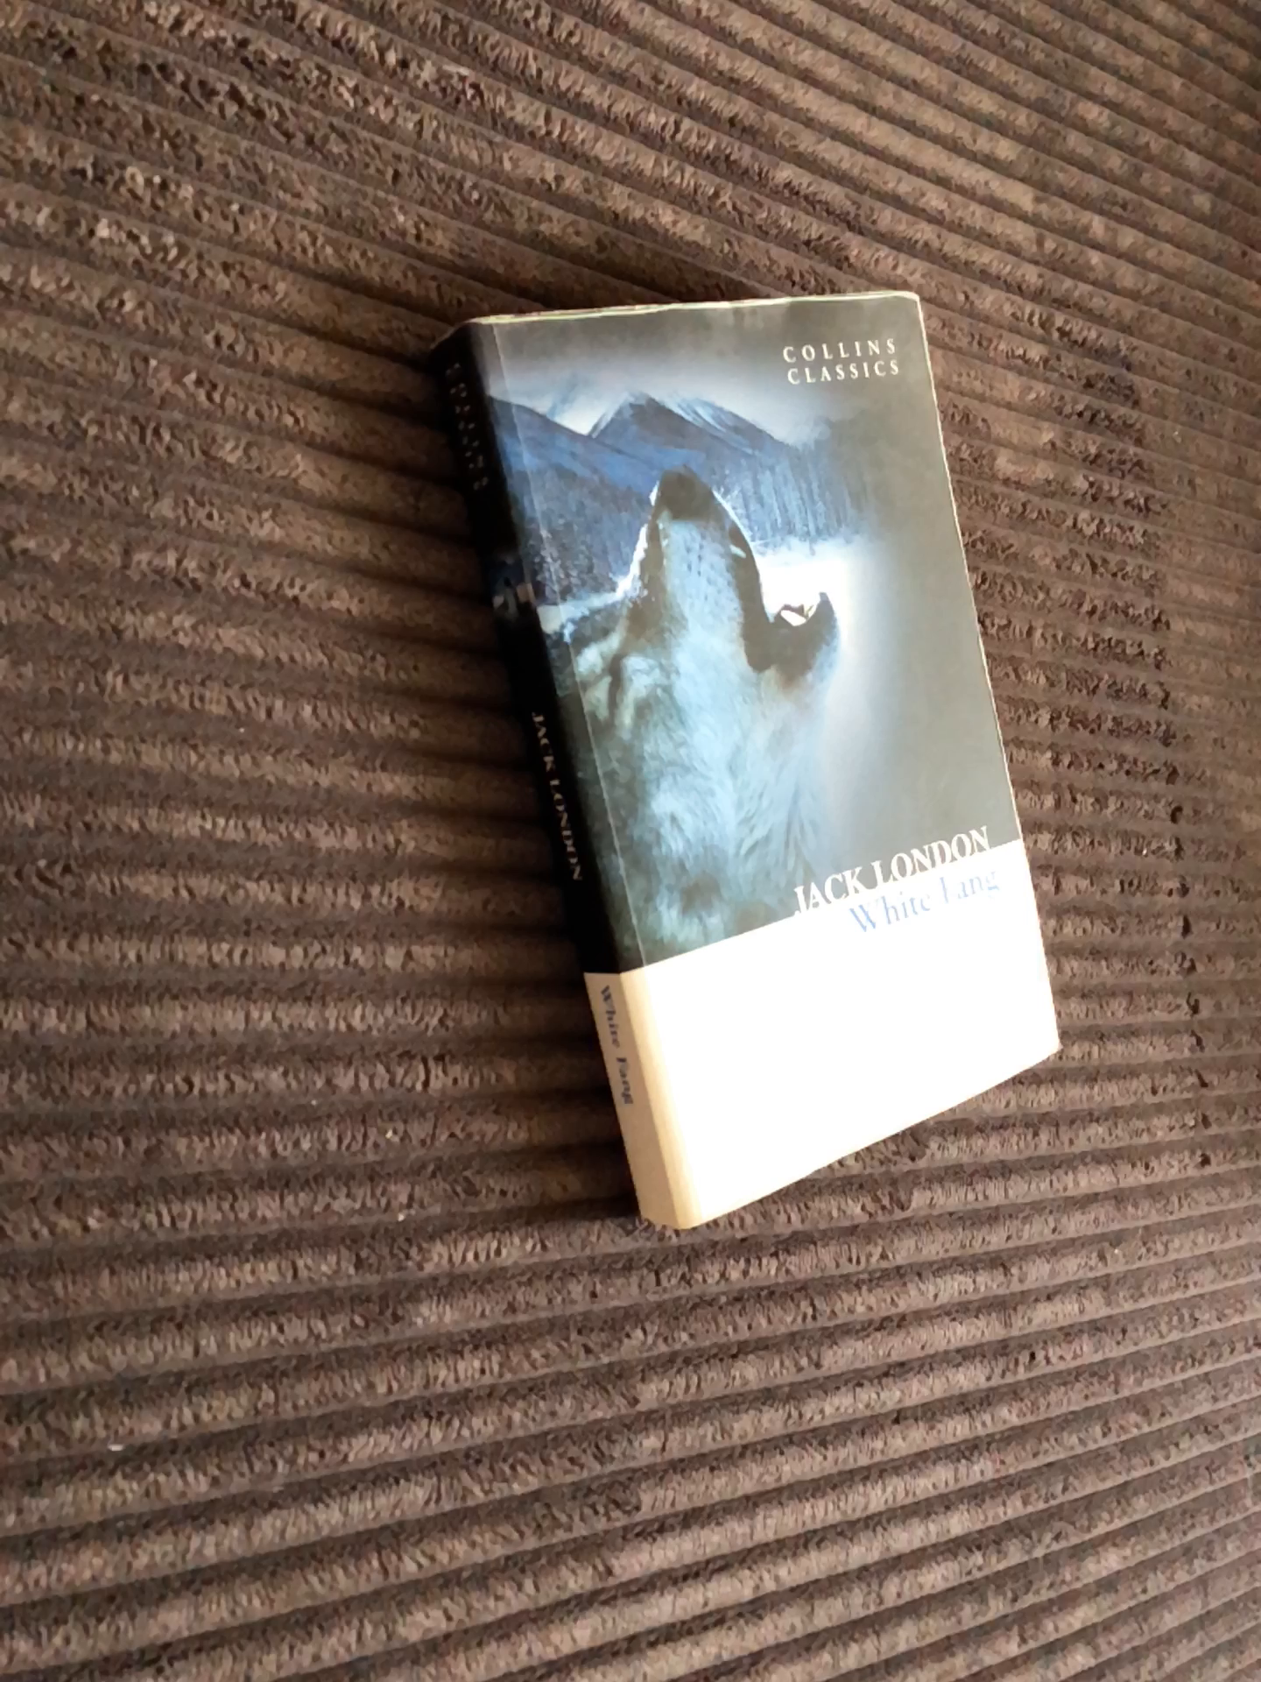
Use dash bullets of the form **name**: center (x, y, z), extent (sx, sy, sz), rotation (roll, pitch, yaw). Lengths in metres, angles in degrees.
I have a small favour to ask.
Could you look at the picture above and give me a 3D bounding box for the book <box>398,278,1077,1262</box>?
- **book**: center (0.028, -0.020, 0.291), extent (0.115, 0.030, 0.178), rotation (-14, 97, -27)
